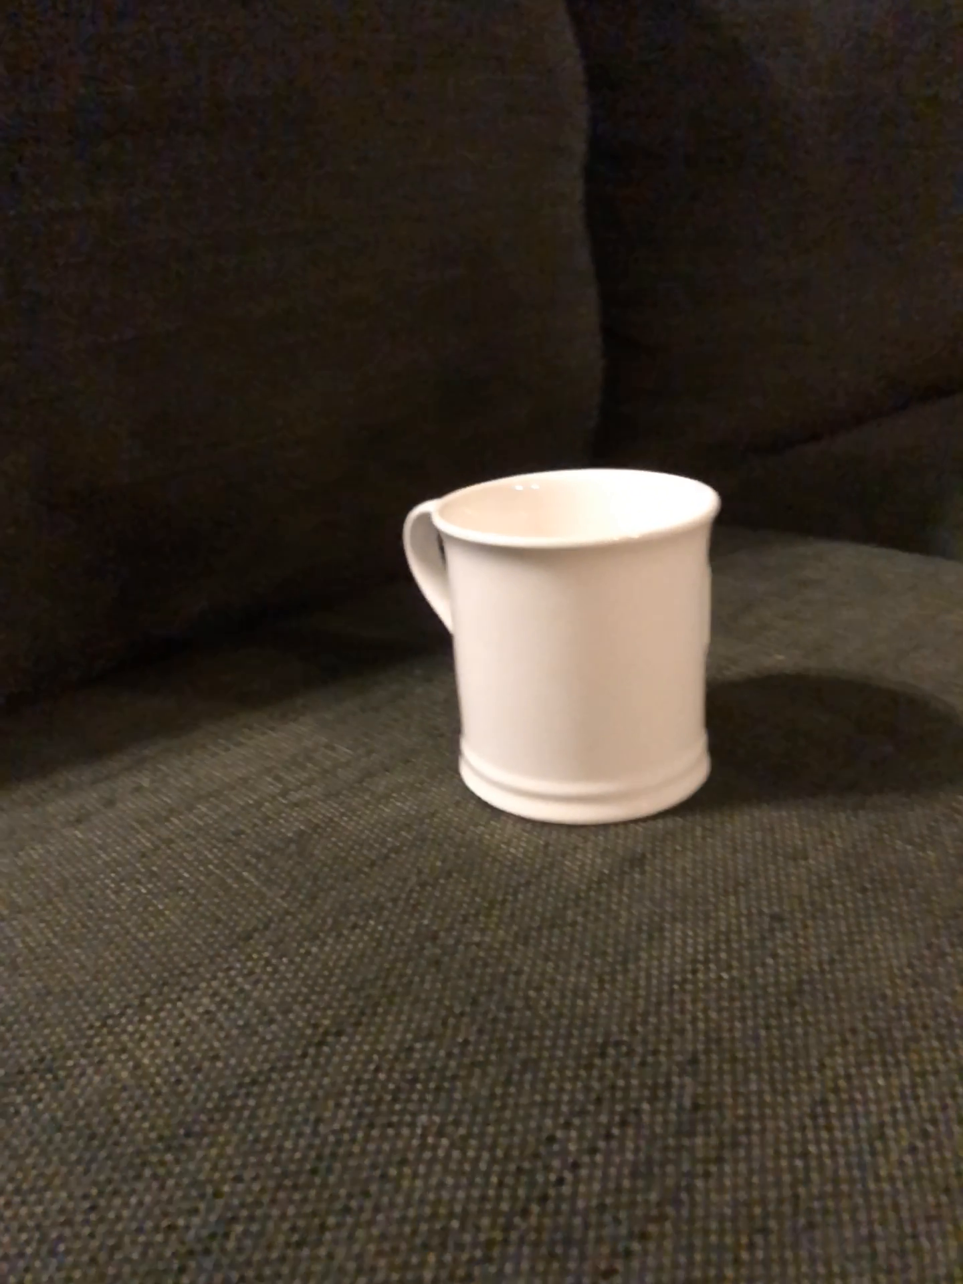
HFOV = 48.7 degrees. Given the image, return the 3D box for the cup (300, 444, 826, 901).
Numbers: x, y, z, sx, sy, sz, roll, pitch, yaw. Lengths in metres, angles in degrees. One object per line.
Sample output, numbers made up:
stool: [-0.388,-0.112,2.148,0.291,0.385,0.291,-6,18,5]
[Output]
cup: [0.027,-0.002,0.367,0.140,0.100,0.100,16,29,38]
